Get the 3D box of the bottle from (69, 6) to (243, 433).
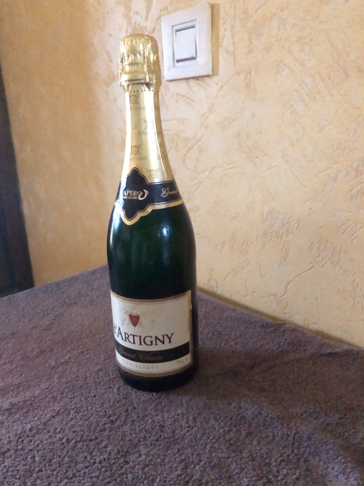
[{"bbox_3d":[-0.010,-0.013,0.358,0.100,0.319,0.101,-2,16,1],"label":"bottle"}]
